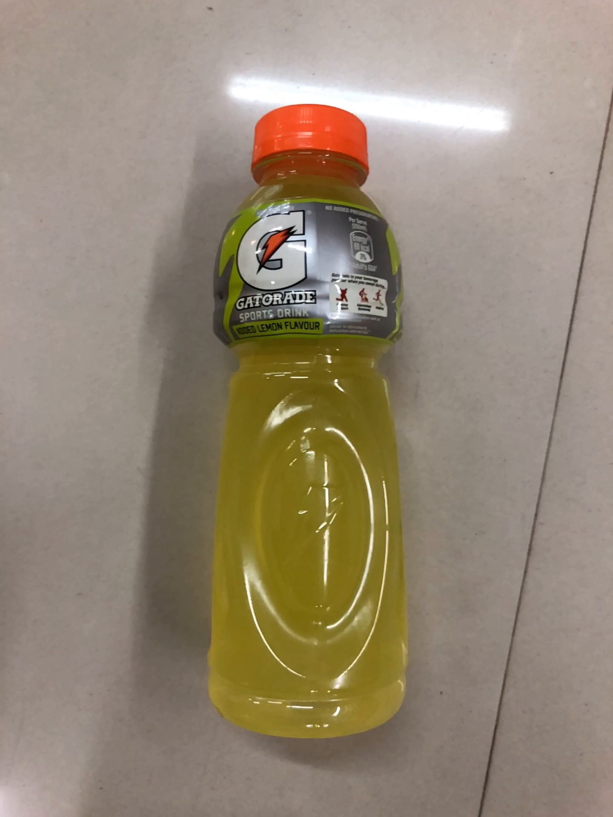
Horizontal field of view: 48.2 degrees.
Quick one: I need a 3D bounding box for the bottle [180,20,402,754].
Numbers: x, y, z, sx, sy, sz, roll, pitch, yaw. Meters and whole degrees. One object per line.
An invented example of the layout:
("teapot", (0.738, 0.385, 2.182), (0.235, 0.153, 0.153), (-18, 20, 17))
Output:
("bottle", (-0.001, -0.006, 0.250), (0.070, 0.060, 0.230), (0, 91, 8))
